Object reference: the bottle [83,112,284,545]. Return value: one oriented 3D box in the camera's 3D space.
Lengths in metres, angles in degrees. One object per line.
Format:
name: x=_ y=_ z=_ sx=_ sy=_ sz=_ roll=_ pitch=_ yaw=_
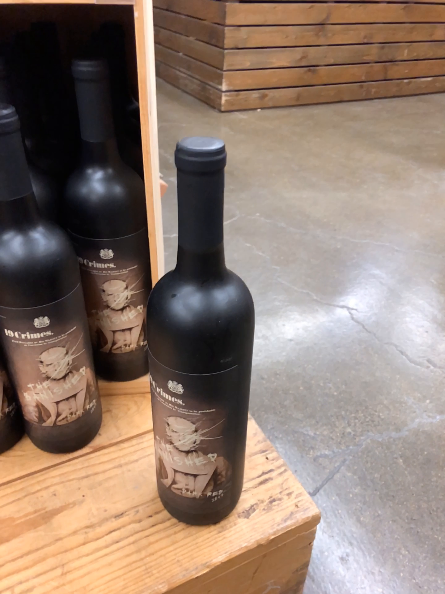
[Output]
bottle: x=-0.021 y=0.039 z=0.344 sx=0.080 sy=0.299 sz=0.080 roll=1 pitch=34 yaw=-1
